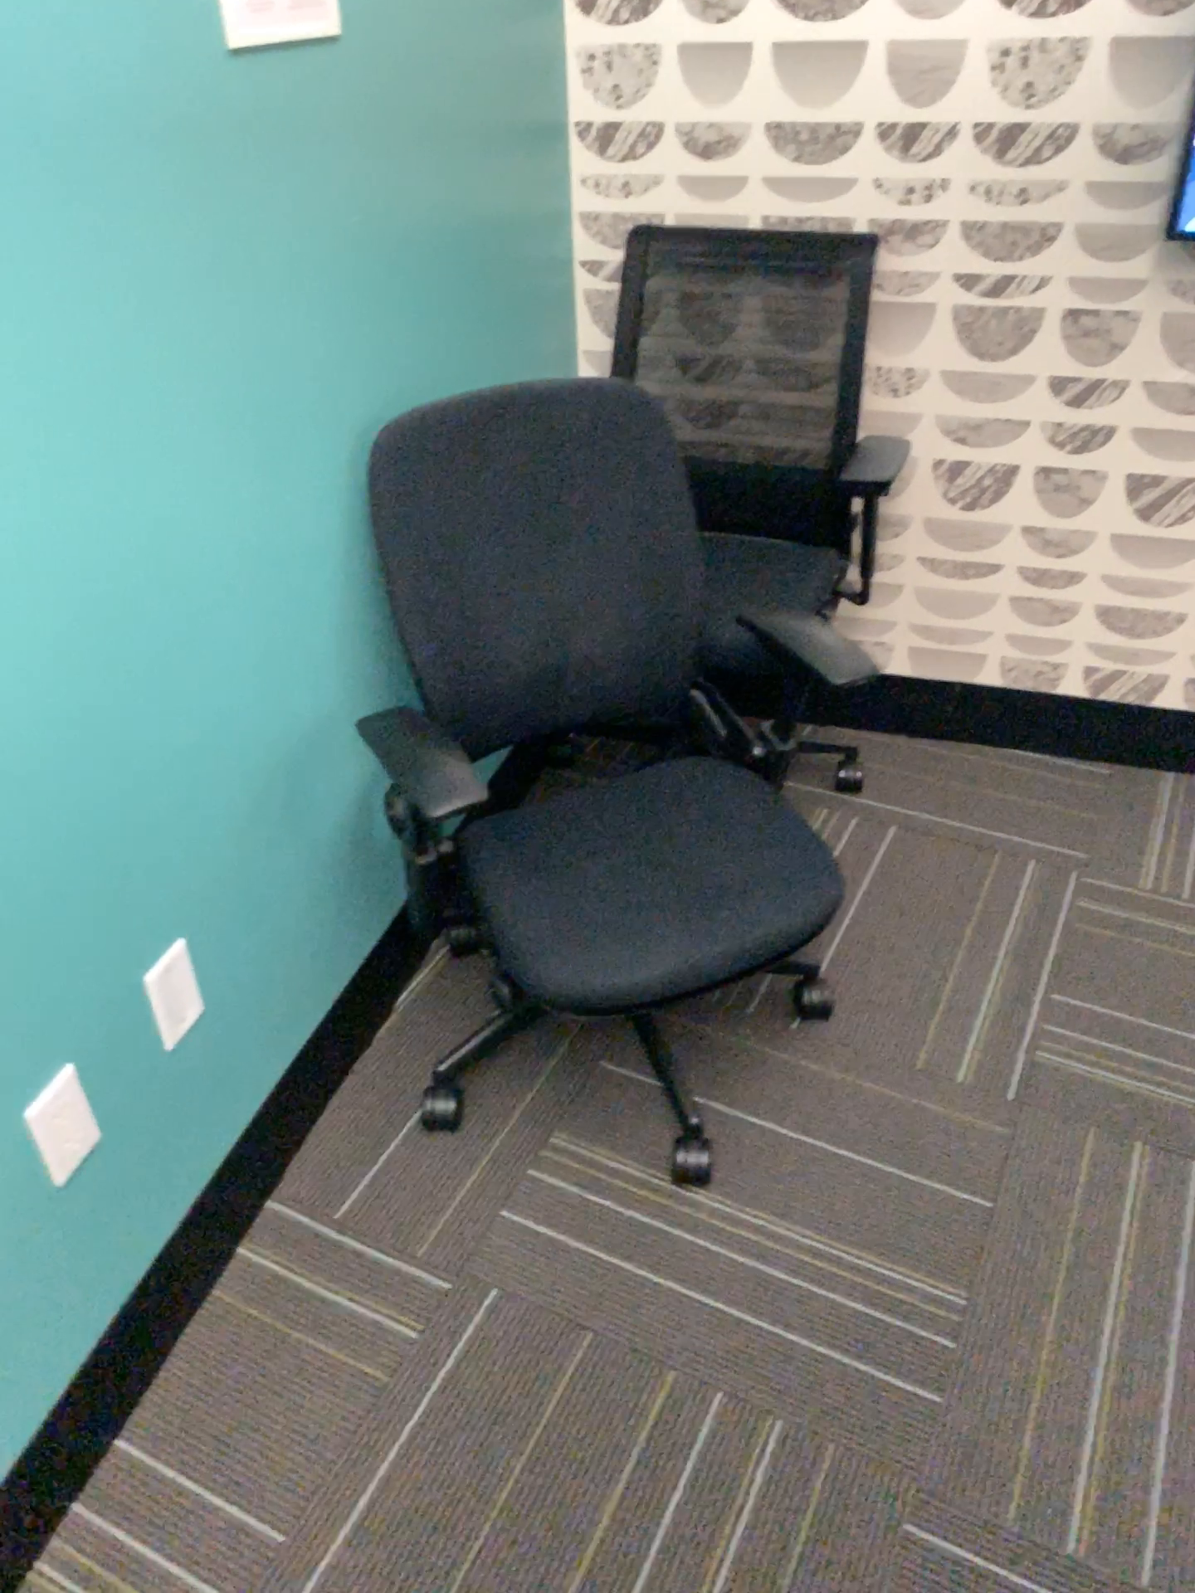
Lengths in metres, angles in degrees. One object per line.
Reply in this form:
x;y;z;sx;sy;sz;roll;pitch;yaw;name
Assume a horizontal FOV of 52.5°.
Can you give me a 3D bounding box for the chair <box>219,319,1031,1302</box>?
-0.013;-0.037;1.663;0.660;0.944;0.775;-16;37;-20;chair
